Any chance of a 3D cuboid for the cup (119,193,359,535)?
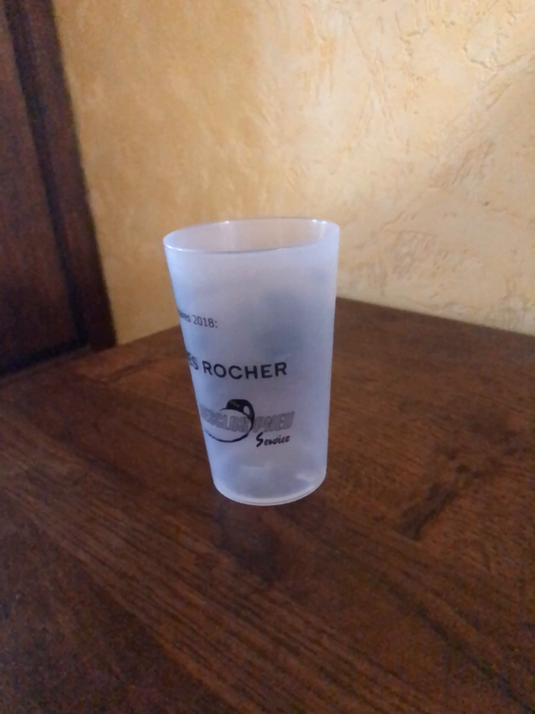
[{"bbox_3d":[-0.010,-0.003,0.260,0.070,0.119,0.070,-3,22,1],"label":"cup"}]
